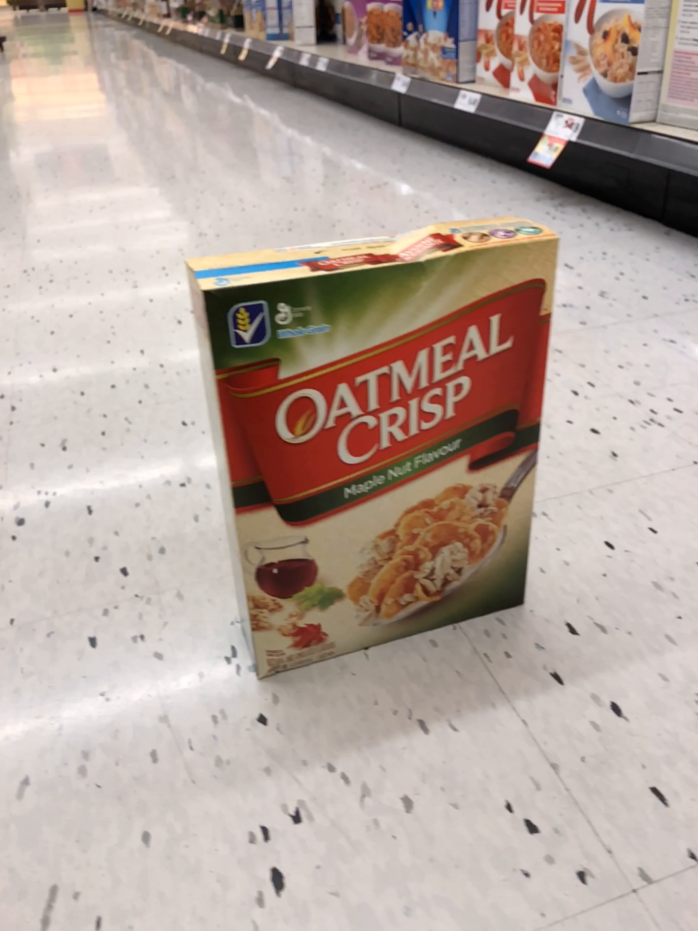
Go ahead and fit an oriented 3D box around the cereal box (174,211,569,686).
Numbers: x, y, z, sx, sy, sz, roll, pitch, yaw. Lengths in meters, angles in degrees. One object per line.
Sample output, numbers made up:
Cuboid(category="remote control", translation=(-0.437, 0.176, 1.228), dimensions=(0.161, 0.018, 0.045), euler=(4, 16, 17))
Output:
Cuboid(category="cereal box", translation=(0.018, -0.004, 0.467), dimensions=(0.200, 0.258, 0.050), euler=(-12, 33, -16))
